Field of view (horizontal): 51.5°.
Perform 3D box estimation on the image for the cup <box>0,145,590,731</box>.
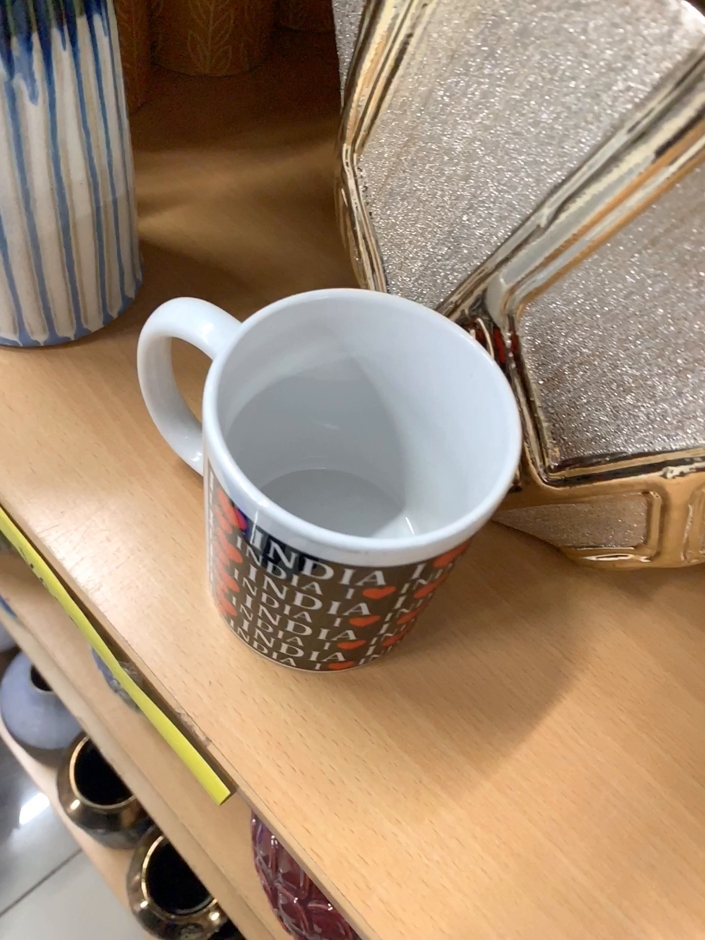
[{"bbox_3d":[-0.022,-0.009,0.219,0.130,0.090,0.090,32,56,9],"label":"cup"}]
